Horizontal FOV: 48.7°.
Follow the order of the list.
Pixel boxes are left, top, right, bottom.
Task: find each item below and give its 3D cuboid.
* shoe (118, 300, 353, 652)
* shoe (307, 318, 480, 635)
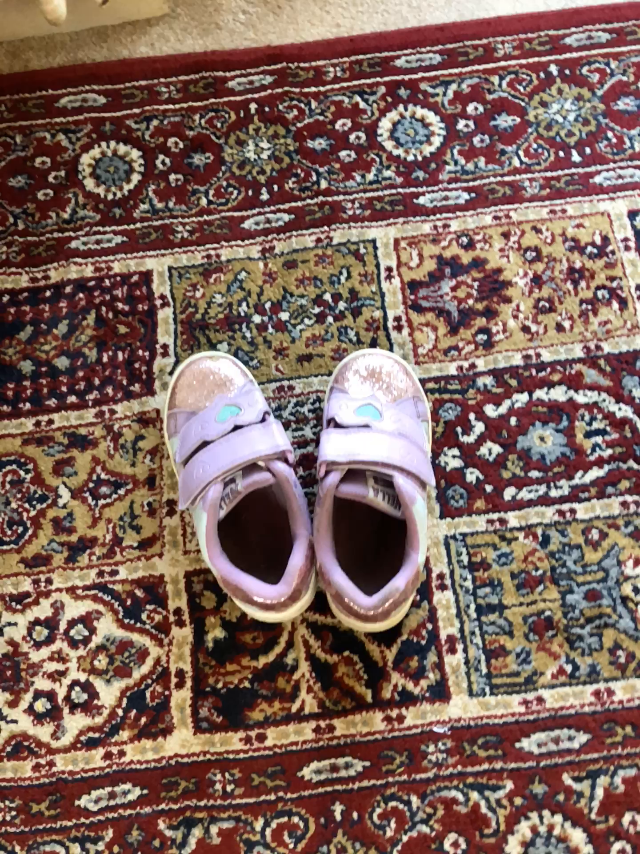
[{"bbox_3d":[-0.056,0.036,0.489,0.090,0.090,0.209,-19,74,-3],"label":"shoe"},{"bbox_3d":[0.045,0.037,0.481,0.100,0.090,0.200,0,73,2],"label":"shoe"}]
